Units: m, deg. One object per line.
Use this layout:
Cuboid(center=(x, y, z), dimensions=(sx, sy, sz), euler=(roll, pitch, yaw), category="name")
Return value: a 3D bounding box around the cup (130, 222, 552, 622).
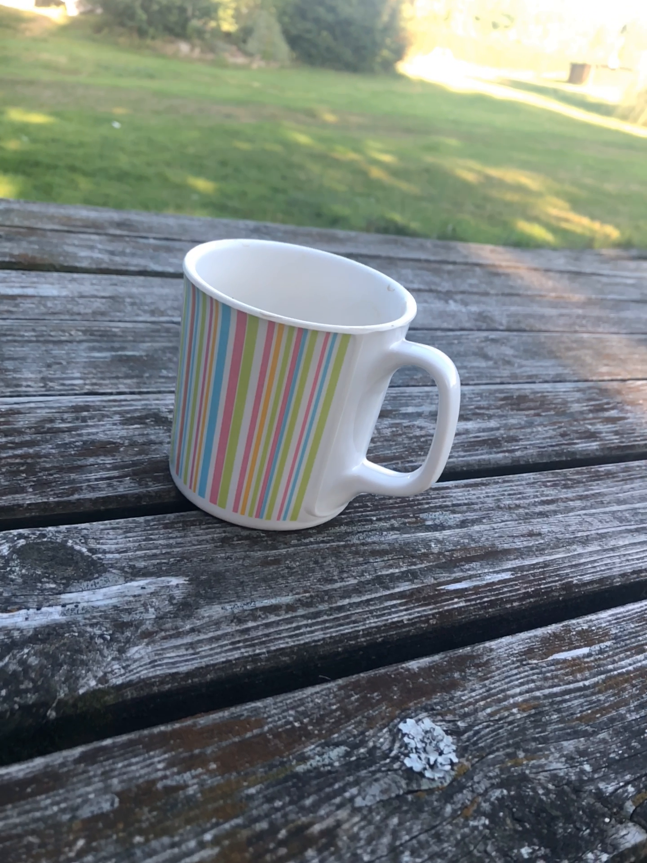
Cuboid(center=(0.005, -0.014, 0.306), dimensions=(0.133, 0.096, 0.099), euler=(25, 33, 19), category="cup")
